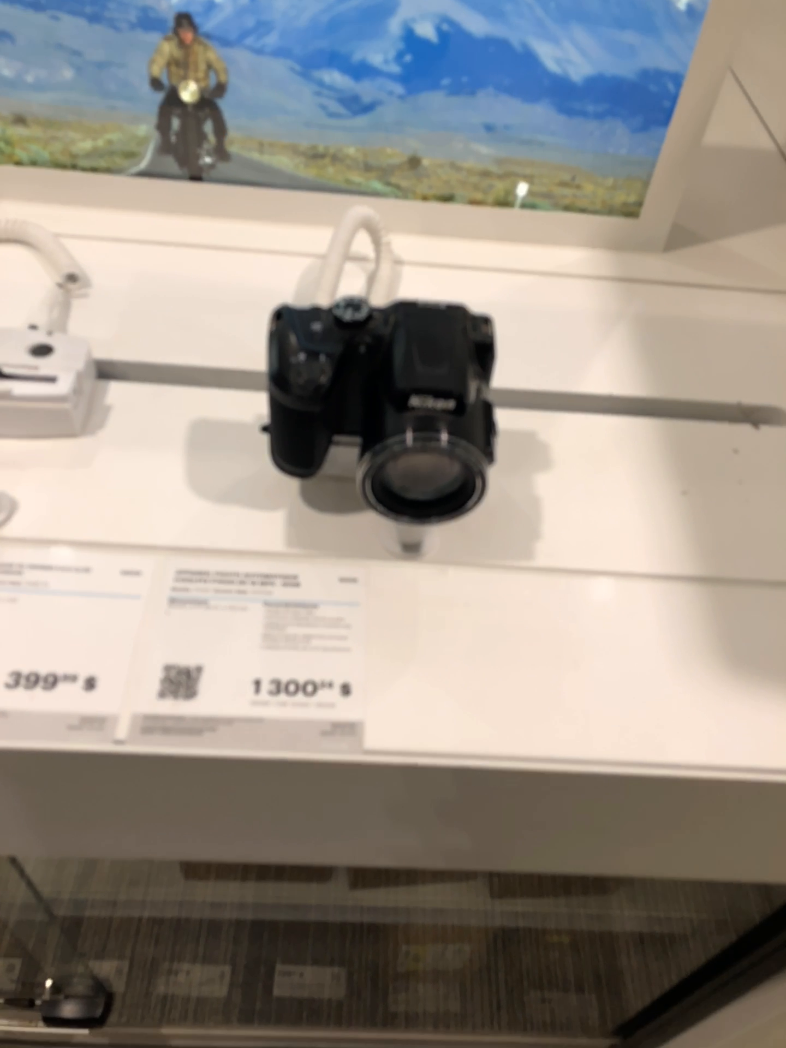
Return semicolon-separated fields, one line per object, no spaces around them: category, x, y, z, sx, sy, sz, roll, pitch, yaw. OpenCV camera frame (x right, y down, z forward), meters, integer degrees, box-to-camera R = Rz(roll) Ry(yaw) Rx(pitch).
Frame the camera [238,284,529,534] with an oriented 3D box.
camera;-0.007;-0.054;0.397;0.117;0.067;0.092;2;48;-4
